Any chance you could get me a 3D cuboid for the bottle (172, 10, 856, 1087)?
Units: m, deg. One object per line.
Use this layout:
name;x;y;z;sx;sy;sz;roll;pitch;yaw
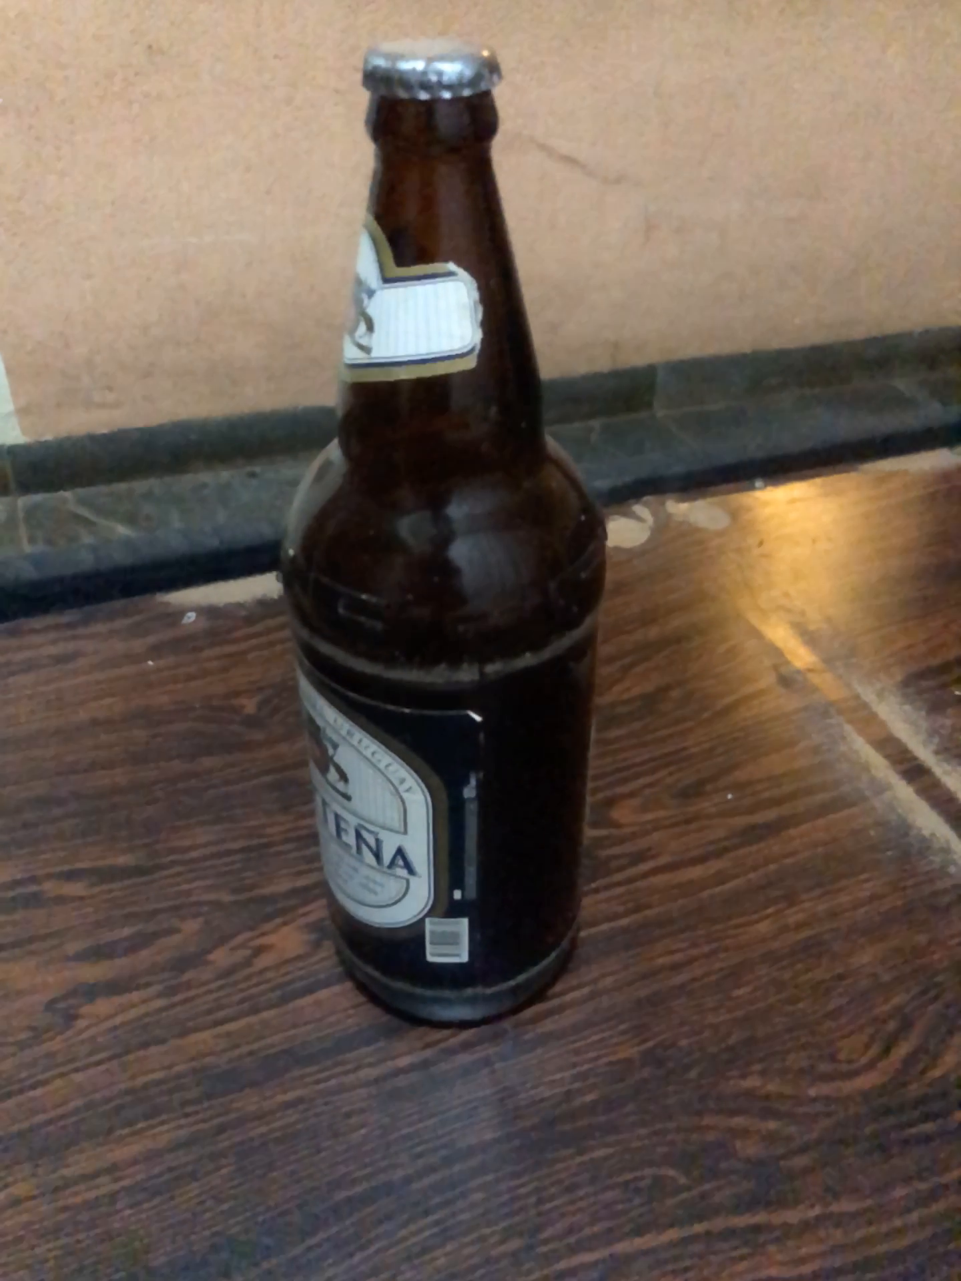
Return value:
bottle;-0.001;-0.013;0.298;0.100;0.268;0.100;2;37;-1
